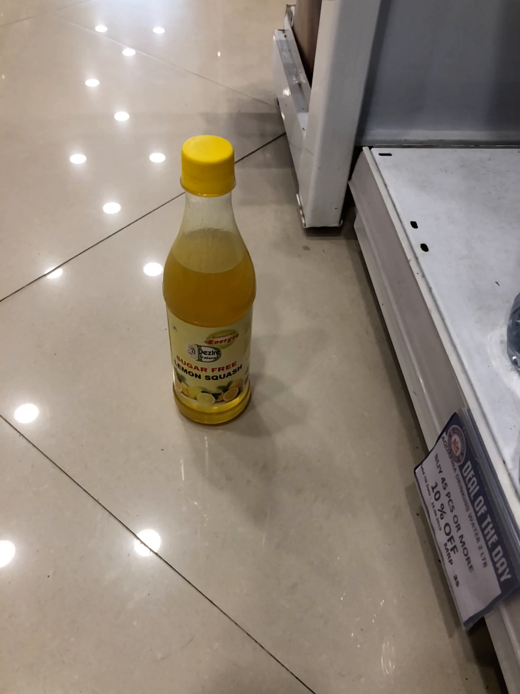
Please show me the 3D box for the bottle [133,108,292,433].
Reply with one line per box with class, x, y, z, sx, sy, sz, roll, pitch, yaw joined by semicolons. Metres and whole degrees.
bottle;-0.029;-0.037;0.406;0.080;0.228;0.070;5;47;1
